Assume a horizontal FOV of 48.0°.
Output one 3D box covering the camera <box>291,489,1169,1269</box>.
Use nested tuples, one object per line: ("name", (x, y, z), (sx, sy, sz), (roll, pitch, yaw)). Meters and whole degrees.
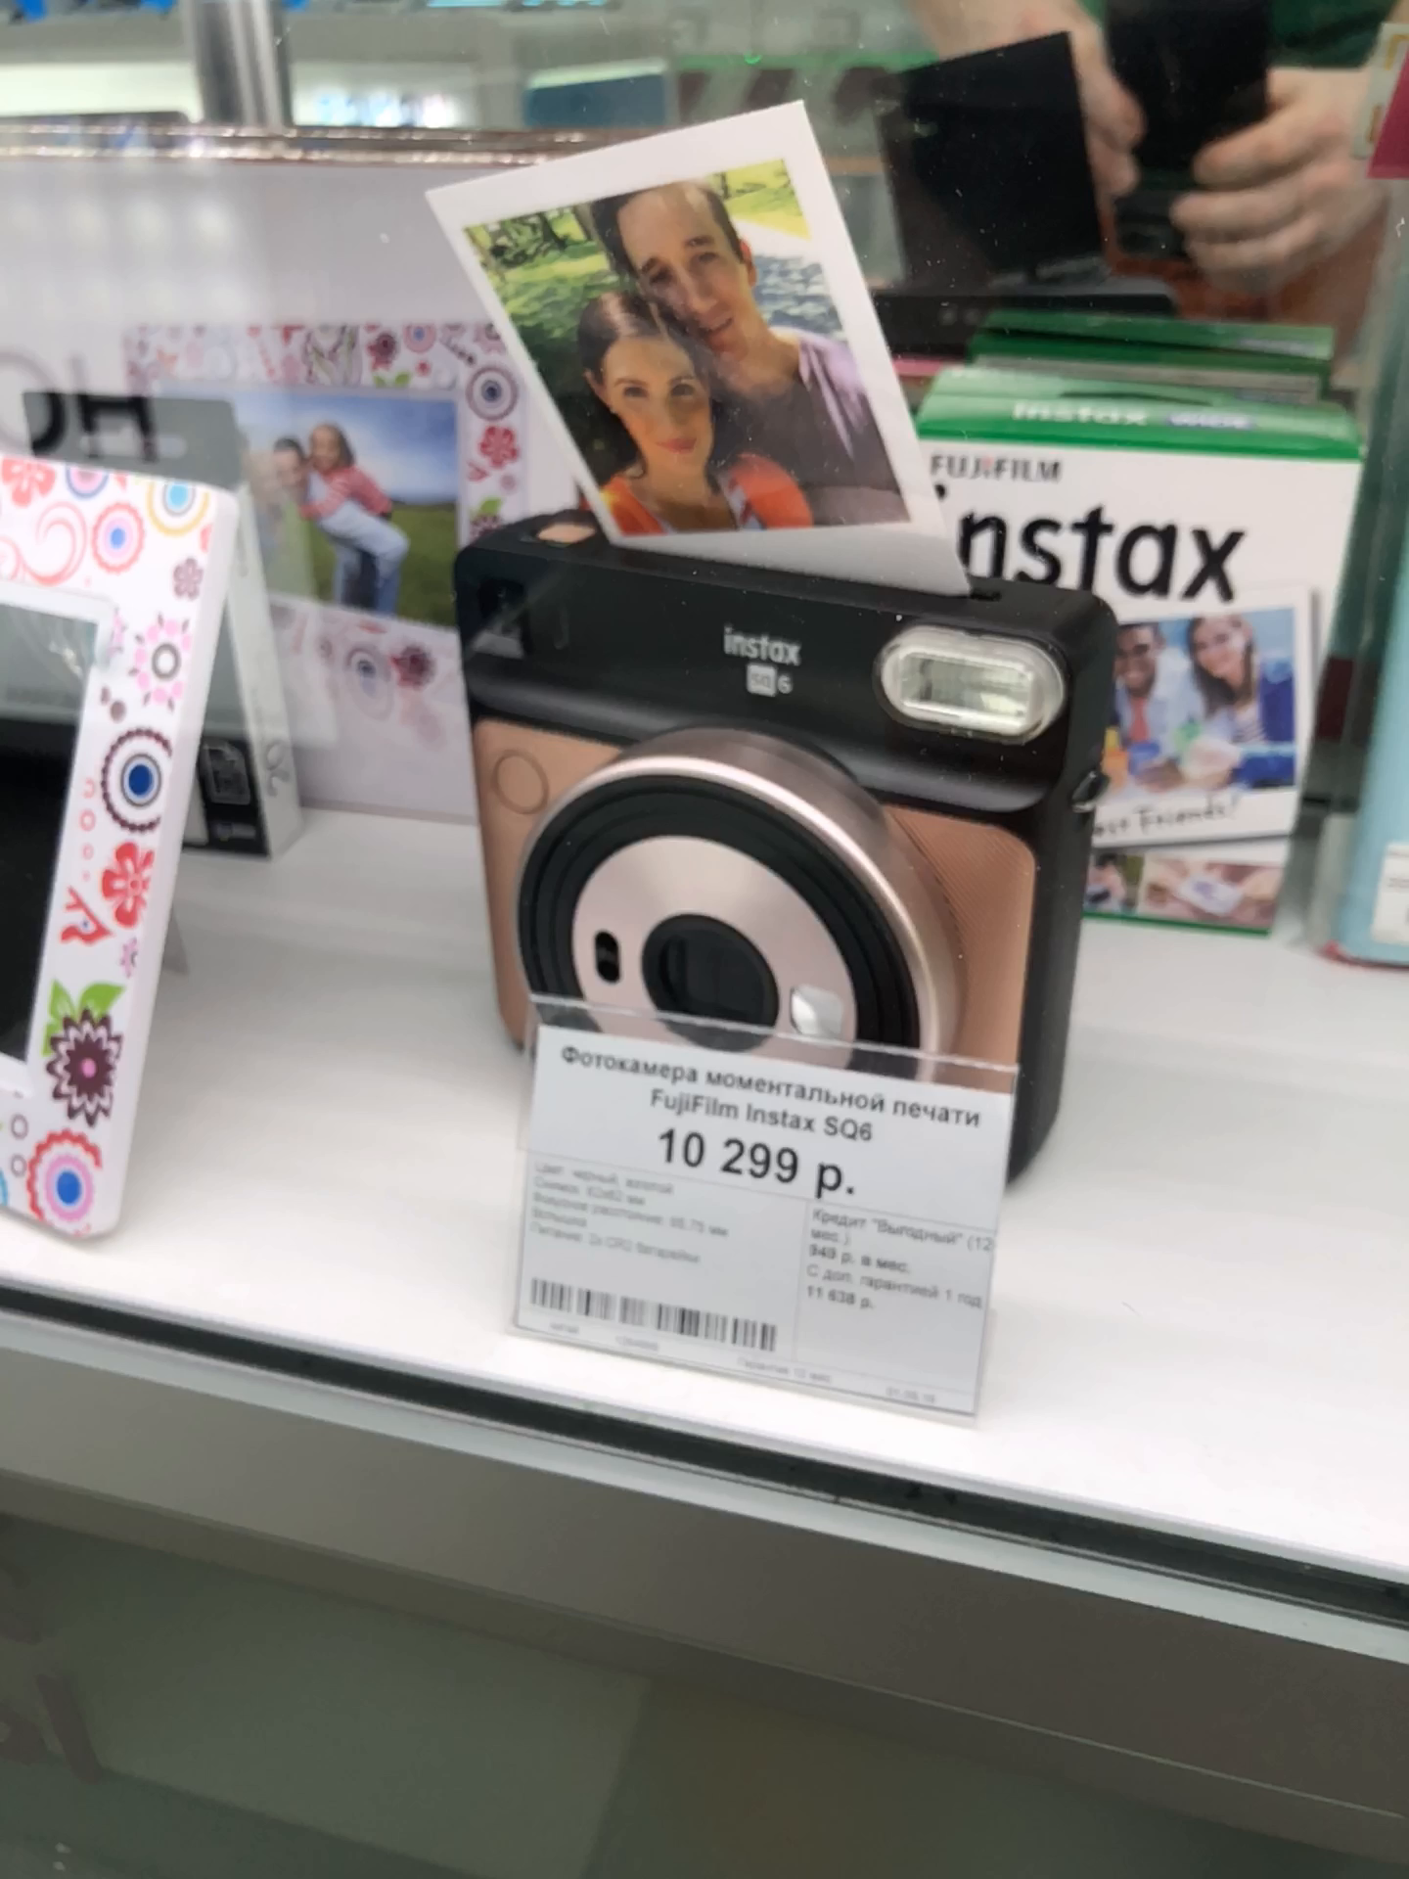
("camera", (0.003, -0.018, 0.300), (0.140, 0.104, 0.060), (15, 34, 25))
